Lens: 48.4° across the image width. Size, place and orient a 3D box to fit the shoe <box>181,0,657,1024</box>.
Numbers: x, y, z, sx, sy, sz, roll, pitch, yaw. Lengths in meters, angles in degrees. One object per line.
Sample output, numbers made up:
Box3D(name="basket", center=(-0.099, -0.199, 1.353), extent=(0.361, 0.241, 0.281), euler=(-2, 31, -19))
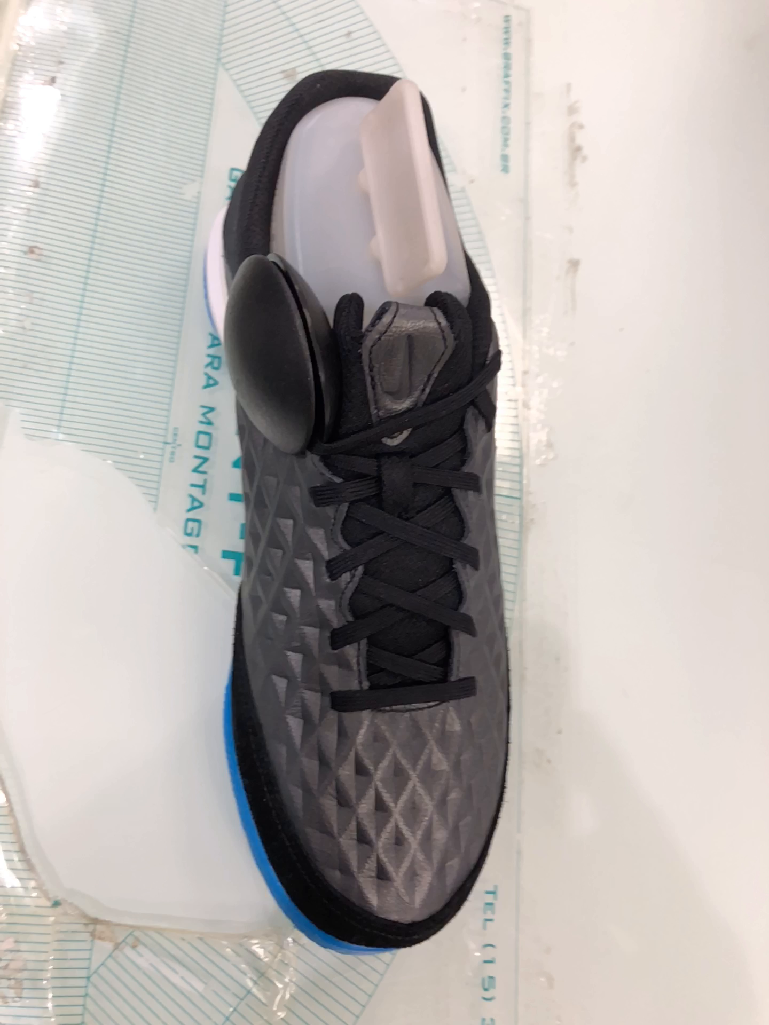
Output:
Box3D(name="shoe", center=(-0.007, -0.010, 0.284), extent=(0.100, 0.100, 0.290), euler=(-1, 75, -18))
